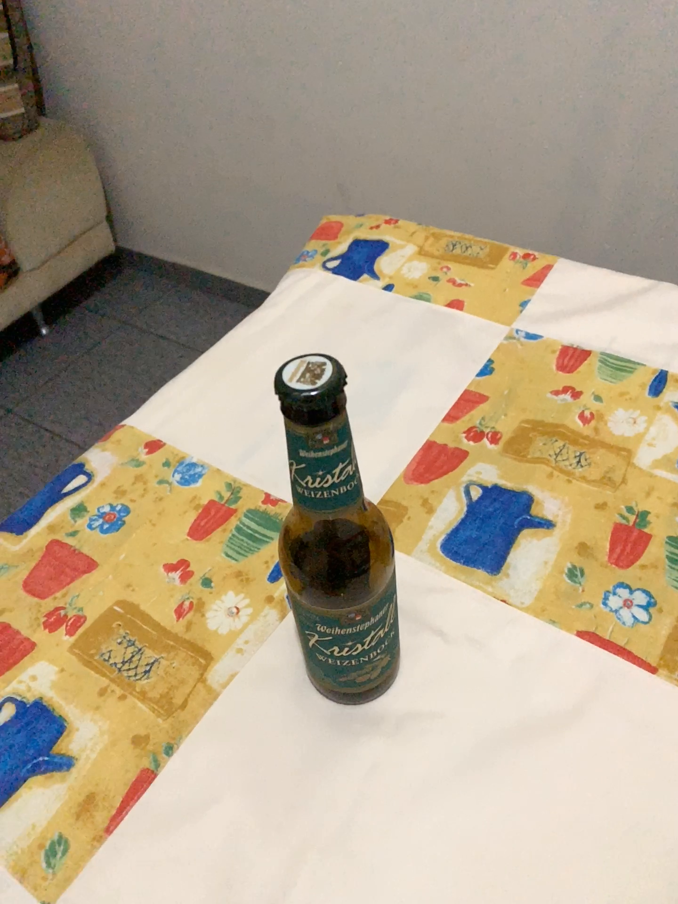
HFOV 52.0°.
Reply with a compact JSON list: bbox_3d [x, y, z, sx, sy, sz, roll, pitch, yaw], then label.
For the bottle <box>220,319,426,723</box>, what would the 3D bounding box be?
[{"bbox_3d":[0.001,0.051,0.352,0.070,0.229,0.060,-12,45,-4],"label":"bottle"}]
